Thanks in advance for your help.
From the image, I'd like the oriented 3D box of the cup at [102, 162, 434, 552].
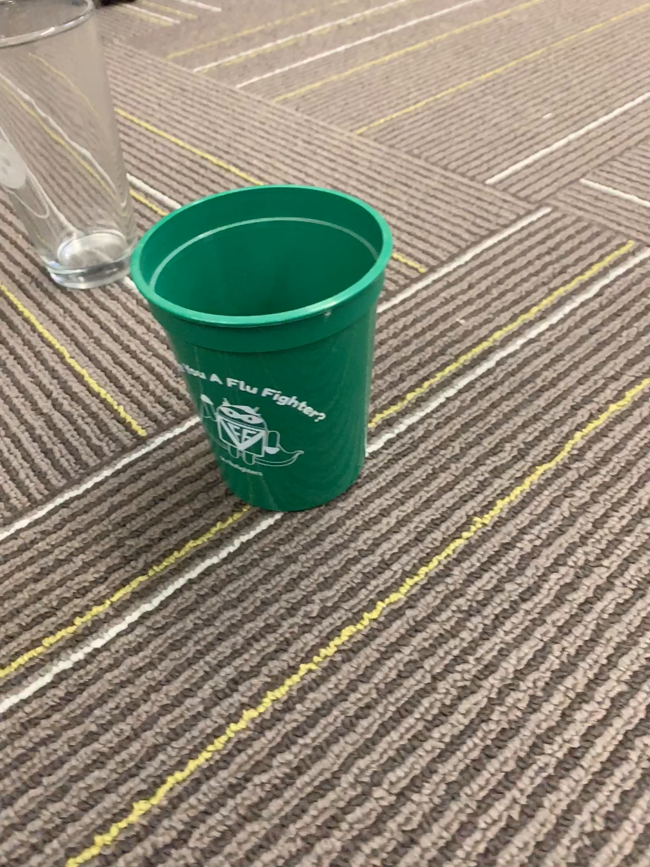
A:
[{"bbox_3d":[-0.014,-0.032,0.282,0.090,0.119,0.080,19,50,23],"label":"cup"}]
